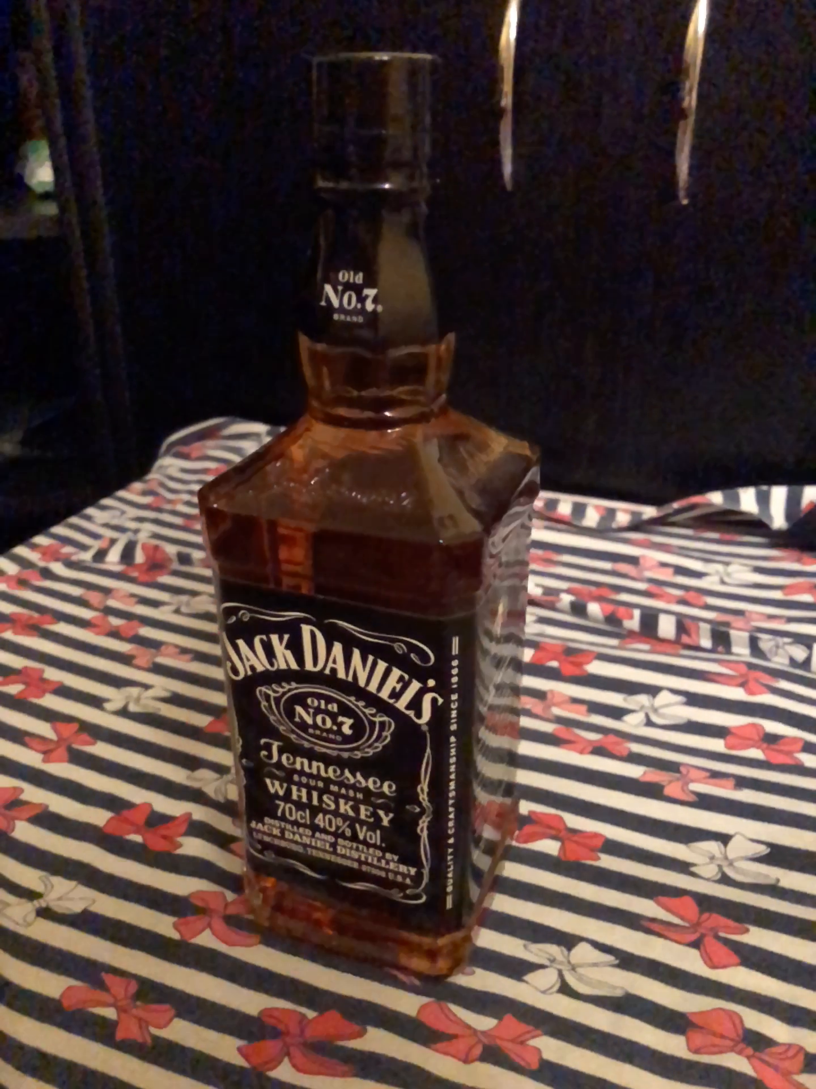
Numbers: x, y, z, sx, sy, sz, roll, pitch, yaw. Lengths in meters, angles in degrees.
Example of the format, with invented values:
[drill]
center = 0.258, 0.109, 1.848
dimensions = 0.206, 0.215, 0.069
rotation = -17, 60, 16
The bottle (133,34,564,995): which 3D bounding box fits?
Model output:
[bottle]
center = -0.007, 0.000, 0.258
dimensions = 0.074, 0.246, 0.073
rotation = -1, 25, 0
